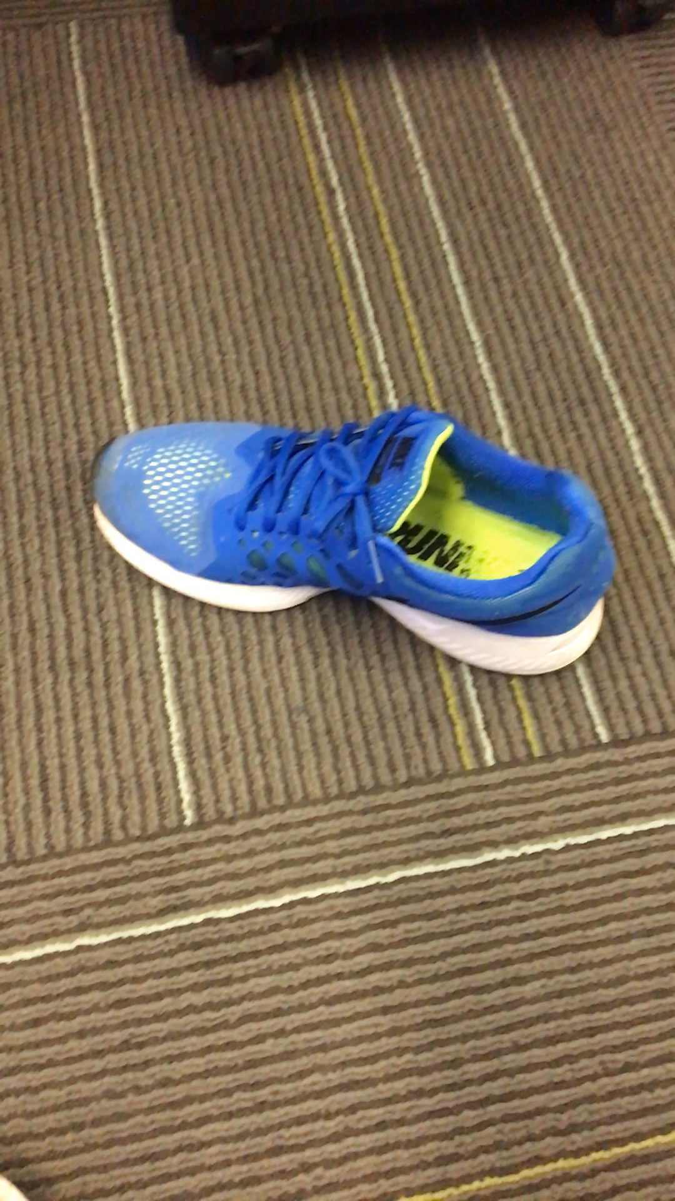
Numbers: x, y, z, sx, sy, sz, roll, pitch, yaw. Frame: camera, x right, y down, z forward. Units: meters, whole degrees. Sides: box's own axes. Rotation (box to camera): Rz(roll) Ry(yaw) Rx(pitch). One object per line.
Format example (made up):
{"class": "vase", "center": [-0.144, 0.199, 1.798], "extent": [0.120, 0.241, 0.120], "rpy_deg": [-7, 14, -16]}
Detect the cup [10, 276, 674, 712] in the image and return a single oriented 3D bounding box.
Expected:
{"class": "cup", "center": [0.008, -0.053, 0.525], "extent": [0.300, 0.100, 0.130], "rpy_deg": [14, 66, 4]}
